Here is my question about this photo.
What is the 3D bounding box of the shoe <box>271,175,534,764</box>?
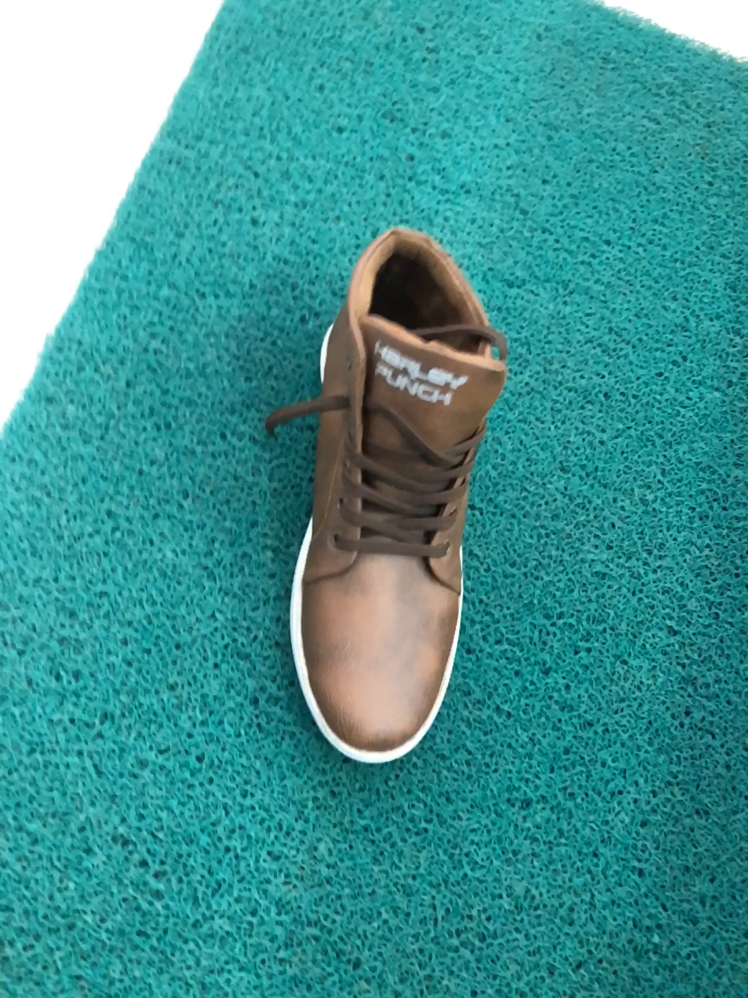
[{"bbox_3d":[0.004,0.001,0.460,0.090,0.190,0.270,5,70,-11],"label":"shoe"}]
